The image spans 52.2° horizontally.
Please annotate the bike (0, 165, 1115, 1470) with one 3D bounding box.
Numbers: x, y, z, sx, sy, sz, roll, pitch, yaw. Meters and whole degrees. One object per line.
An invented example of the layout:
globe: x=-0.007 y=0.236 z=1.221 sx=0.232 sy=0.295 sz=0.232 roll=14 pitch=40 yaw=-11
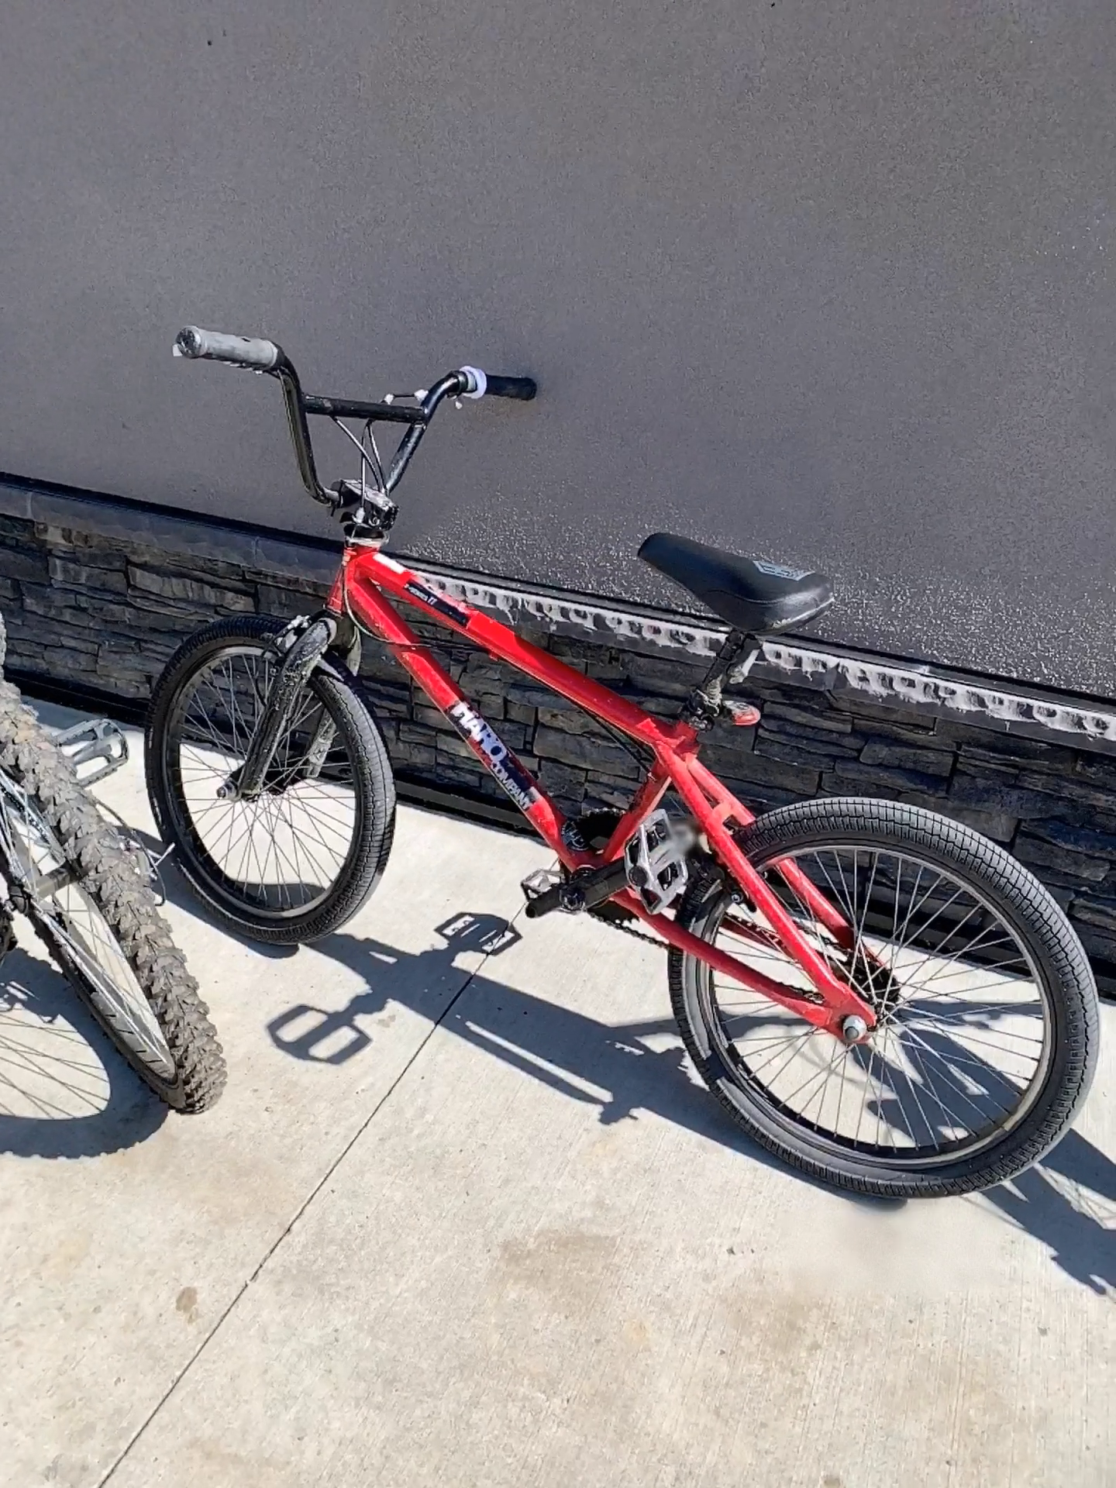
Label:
bike: x=0.059 y=-0.088 z=1.424 sx=1.312 sy=0.908 sz=0.777 roll=21 pitch=32 yaw=21
